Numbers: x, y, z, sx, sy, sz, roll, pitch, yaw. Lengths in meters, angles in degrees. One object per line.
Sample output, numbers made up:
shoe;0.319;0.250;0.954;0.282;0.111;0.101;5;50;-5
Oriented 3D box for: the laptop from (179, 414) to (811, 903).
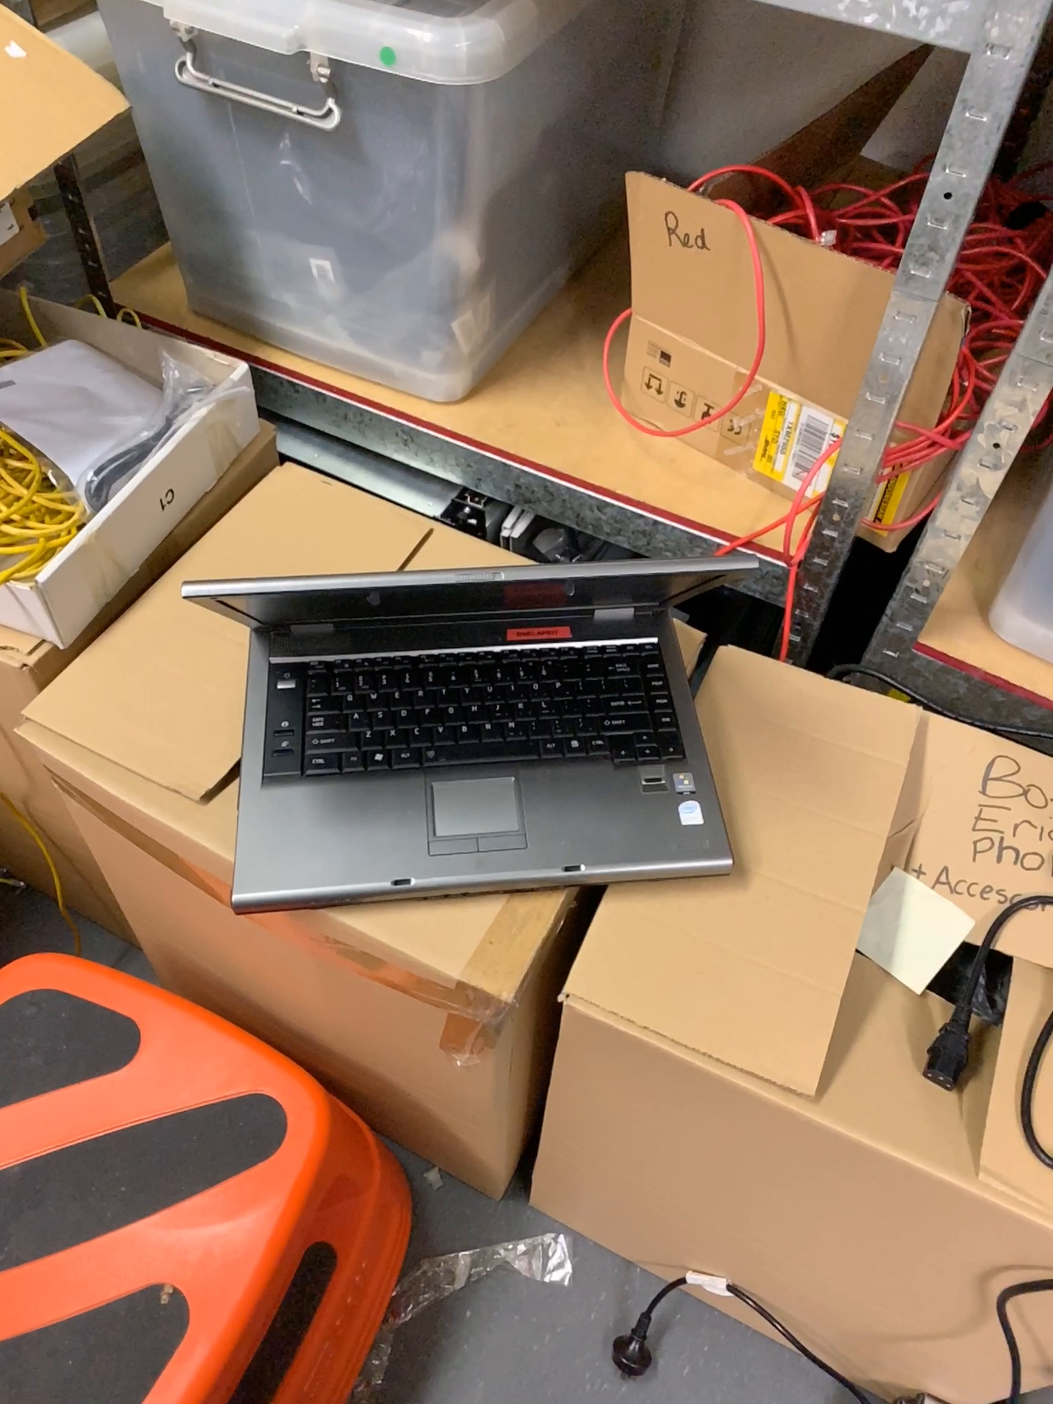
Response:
laptop;-0.034;-0.033;0.756;0.352;0.203;0.254;-3;52;-5
